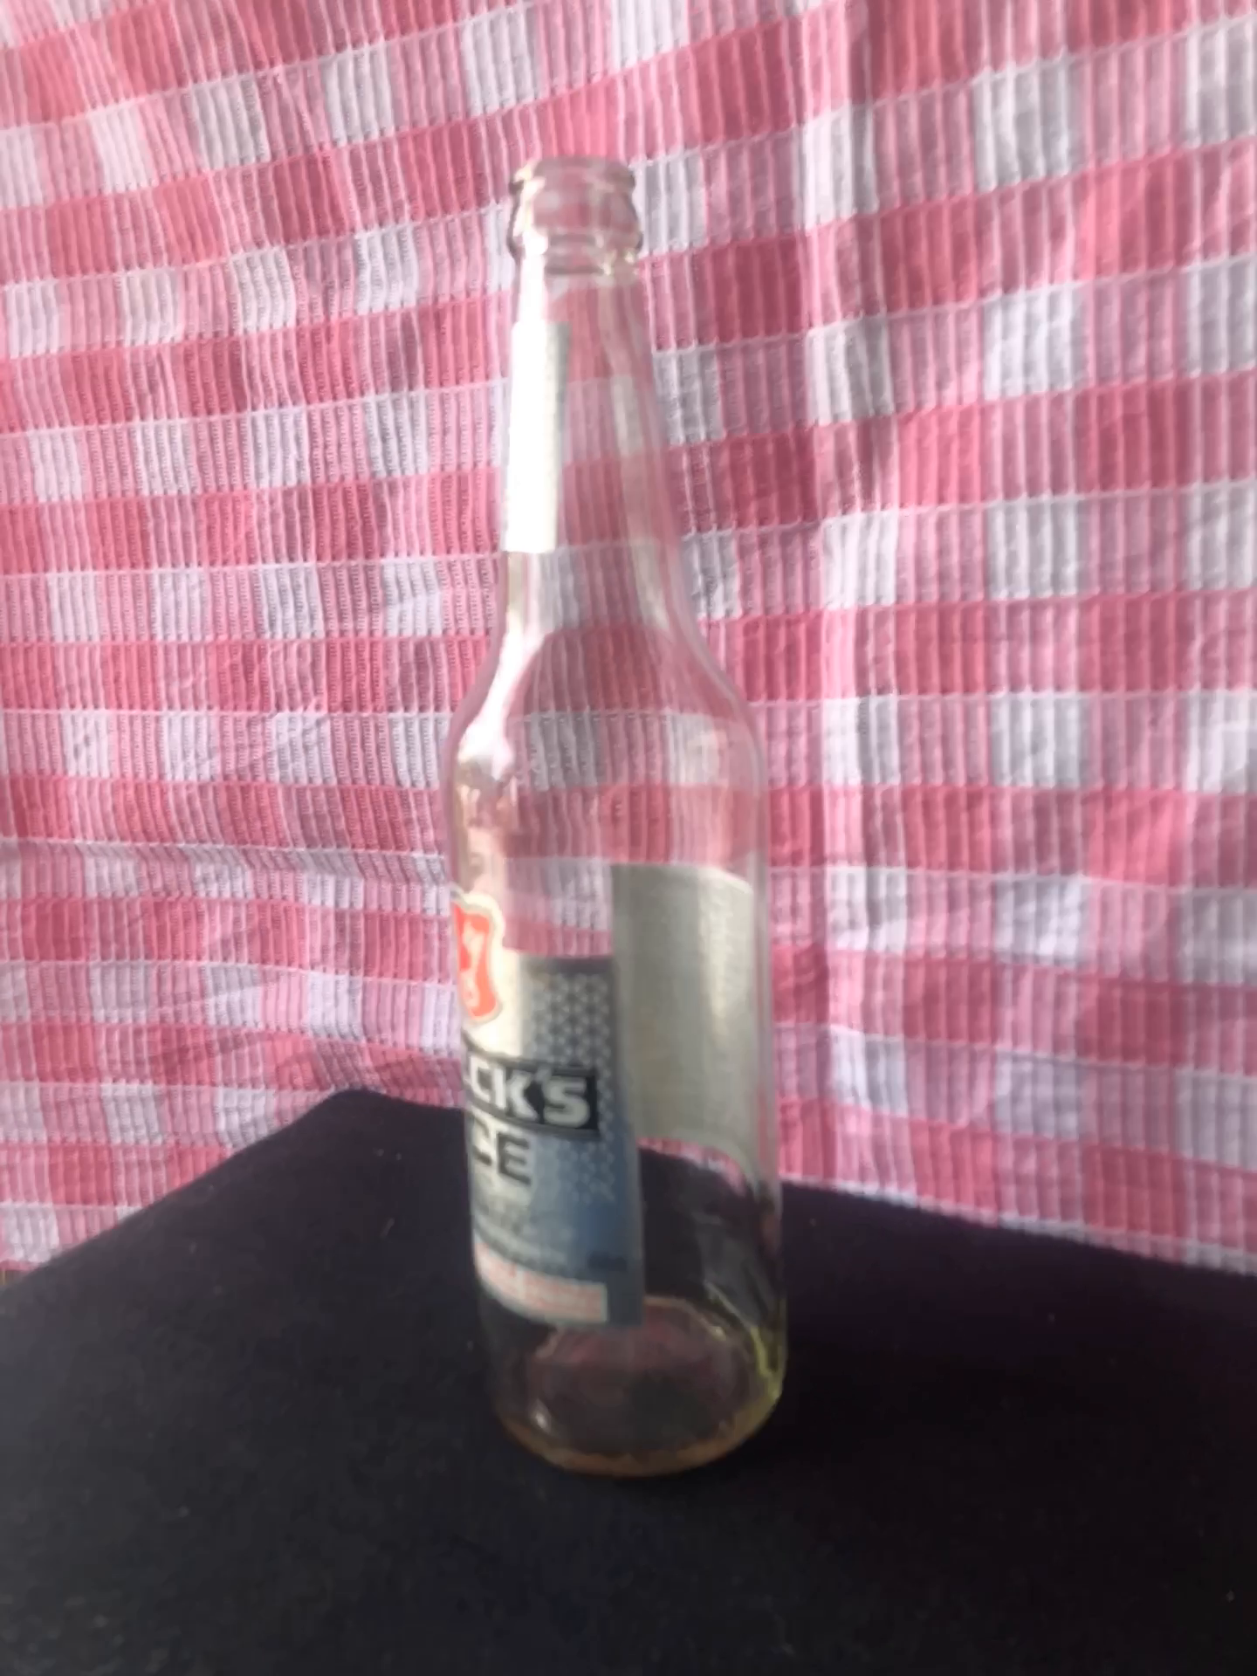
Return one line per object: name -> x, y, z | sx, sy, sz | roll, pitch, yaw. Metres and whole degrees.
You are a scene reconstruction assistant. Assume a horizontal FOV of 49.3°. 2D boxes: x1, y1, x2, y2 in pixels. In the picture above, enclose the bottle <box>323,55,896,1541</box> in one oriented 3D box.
bottle -> -0.002, -0.005, 0.299 | 0.080, 0.269, 0.090 | -10, 16, -26
